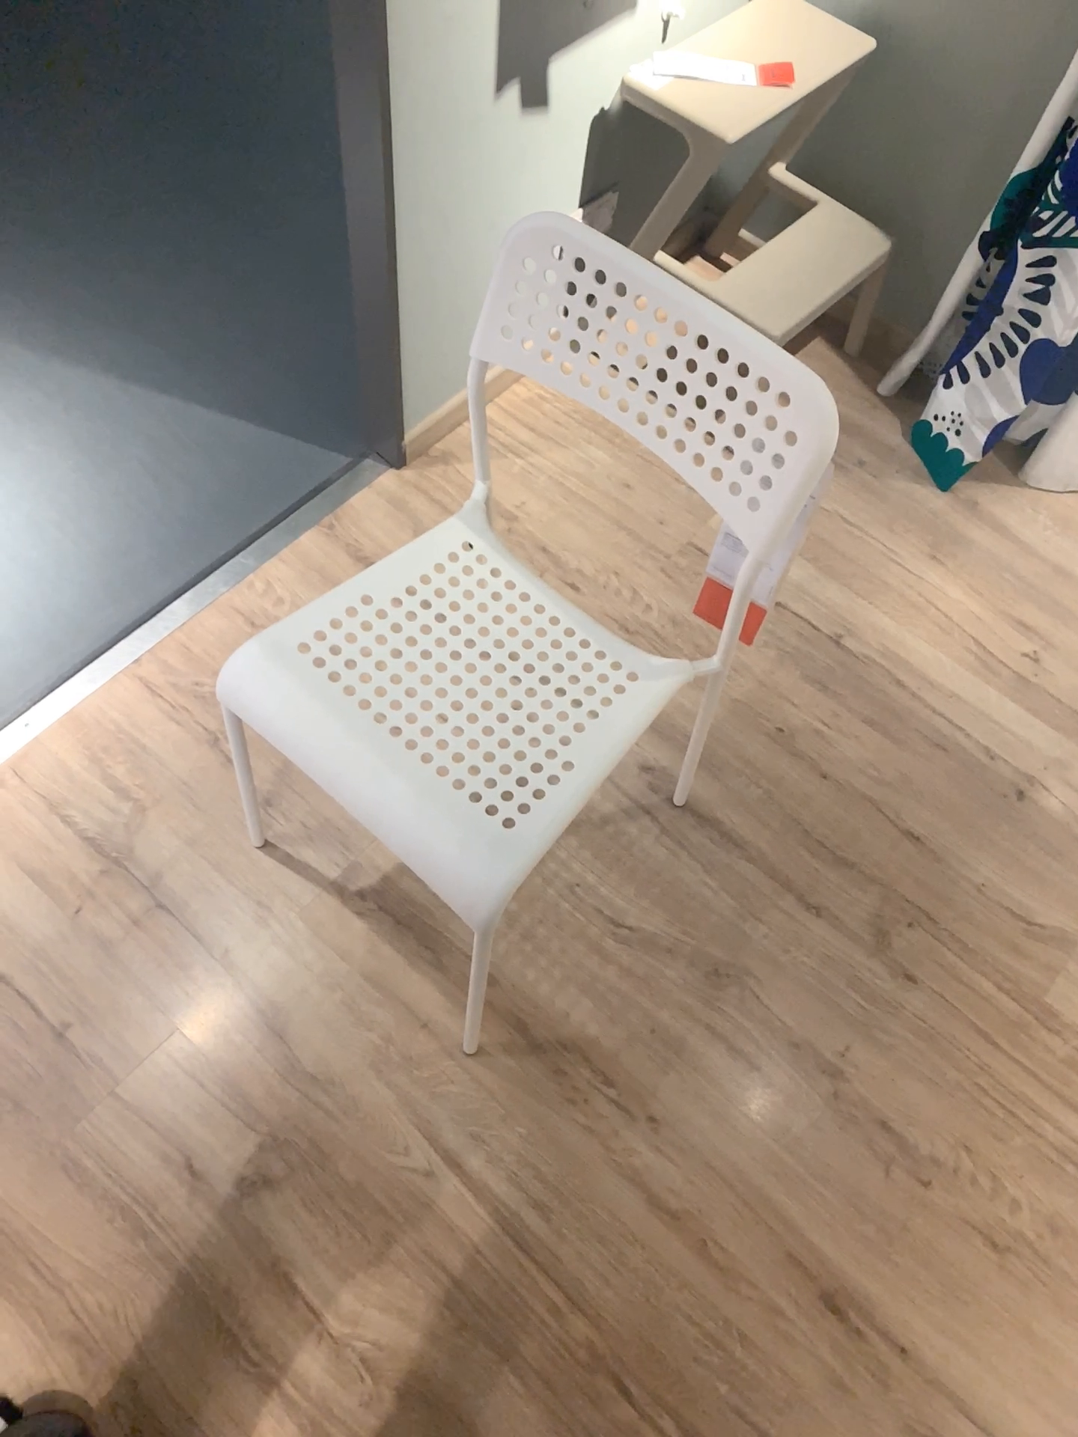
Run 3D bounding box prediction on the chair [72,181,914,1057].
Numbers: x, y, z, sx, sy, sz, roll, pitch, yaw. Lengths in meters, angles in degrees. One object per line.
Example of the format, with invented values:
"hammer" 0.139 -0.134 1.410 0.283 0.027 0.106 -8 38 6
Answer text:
"chair" -0.039 -0.067 1.141 0.430 0.609 0.531 38 64 16
